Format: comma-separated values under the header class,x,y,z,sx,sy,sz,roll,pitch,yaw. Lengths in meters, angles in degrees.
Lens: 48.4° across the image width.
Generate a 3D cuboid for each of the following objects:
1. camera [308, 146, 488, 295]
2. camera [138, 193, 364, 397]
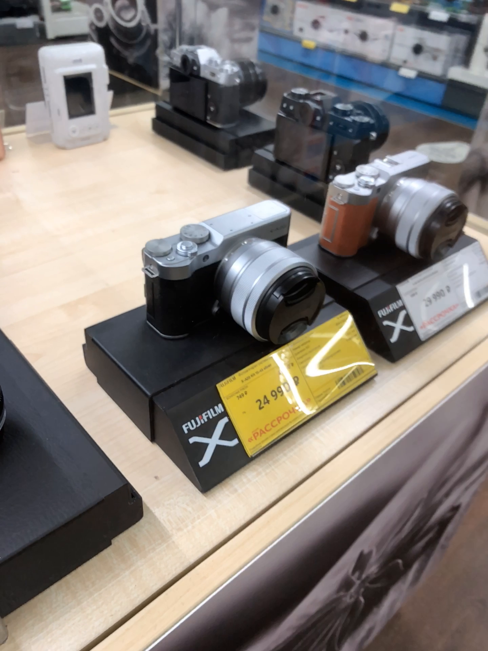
class,x,y,z,sx,sy,sz,roll,pitch,yaw
camera,0.138,-0.100,0.488,0.128,0.072,0.088,-26,47,-33
camera,0.004,-0.028,0.377,0.120,0.072,0.088,-26,47,-33
